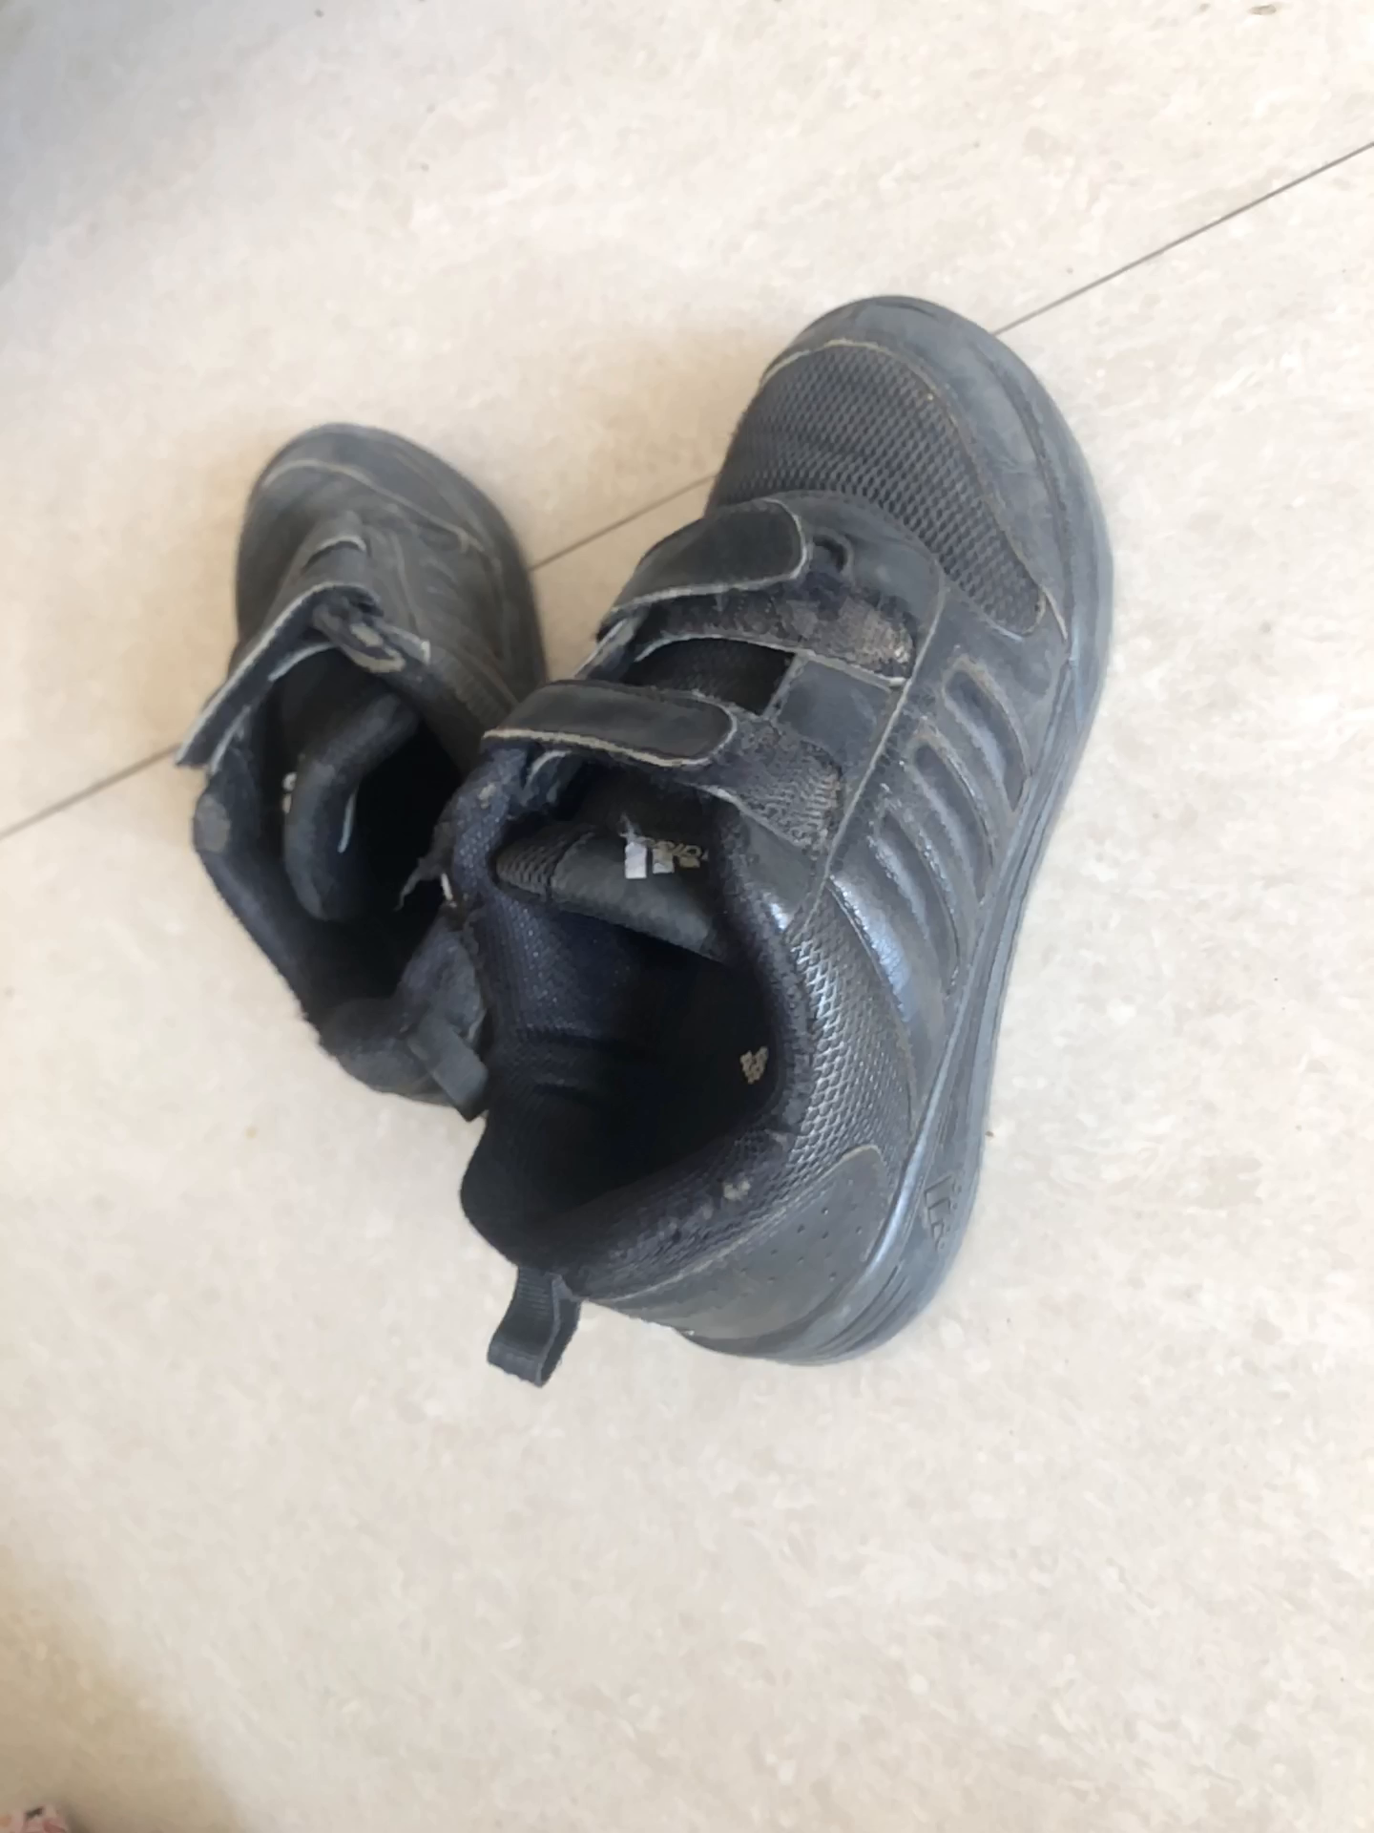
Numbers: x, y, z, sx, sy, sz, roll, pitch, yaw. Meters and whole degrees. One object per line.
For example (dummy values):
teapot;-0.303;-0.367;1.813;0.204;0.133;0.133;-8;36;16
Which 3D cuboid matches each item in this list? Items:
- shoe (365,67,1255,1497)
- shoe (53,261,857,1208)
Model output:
shoe;0.029;-0.020;0.299;0.101;0.099;0.220;5;82;38
shoe;-0.066;-0.045;0.366;0.100;0.080;0.201;-45;56;21
